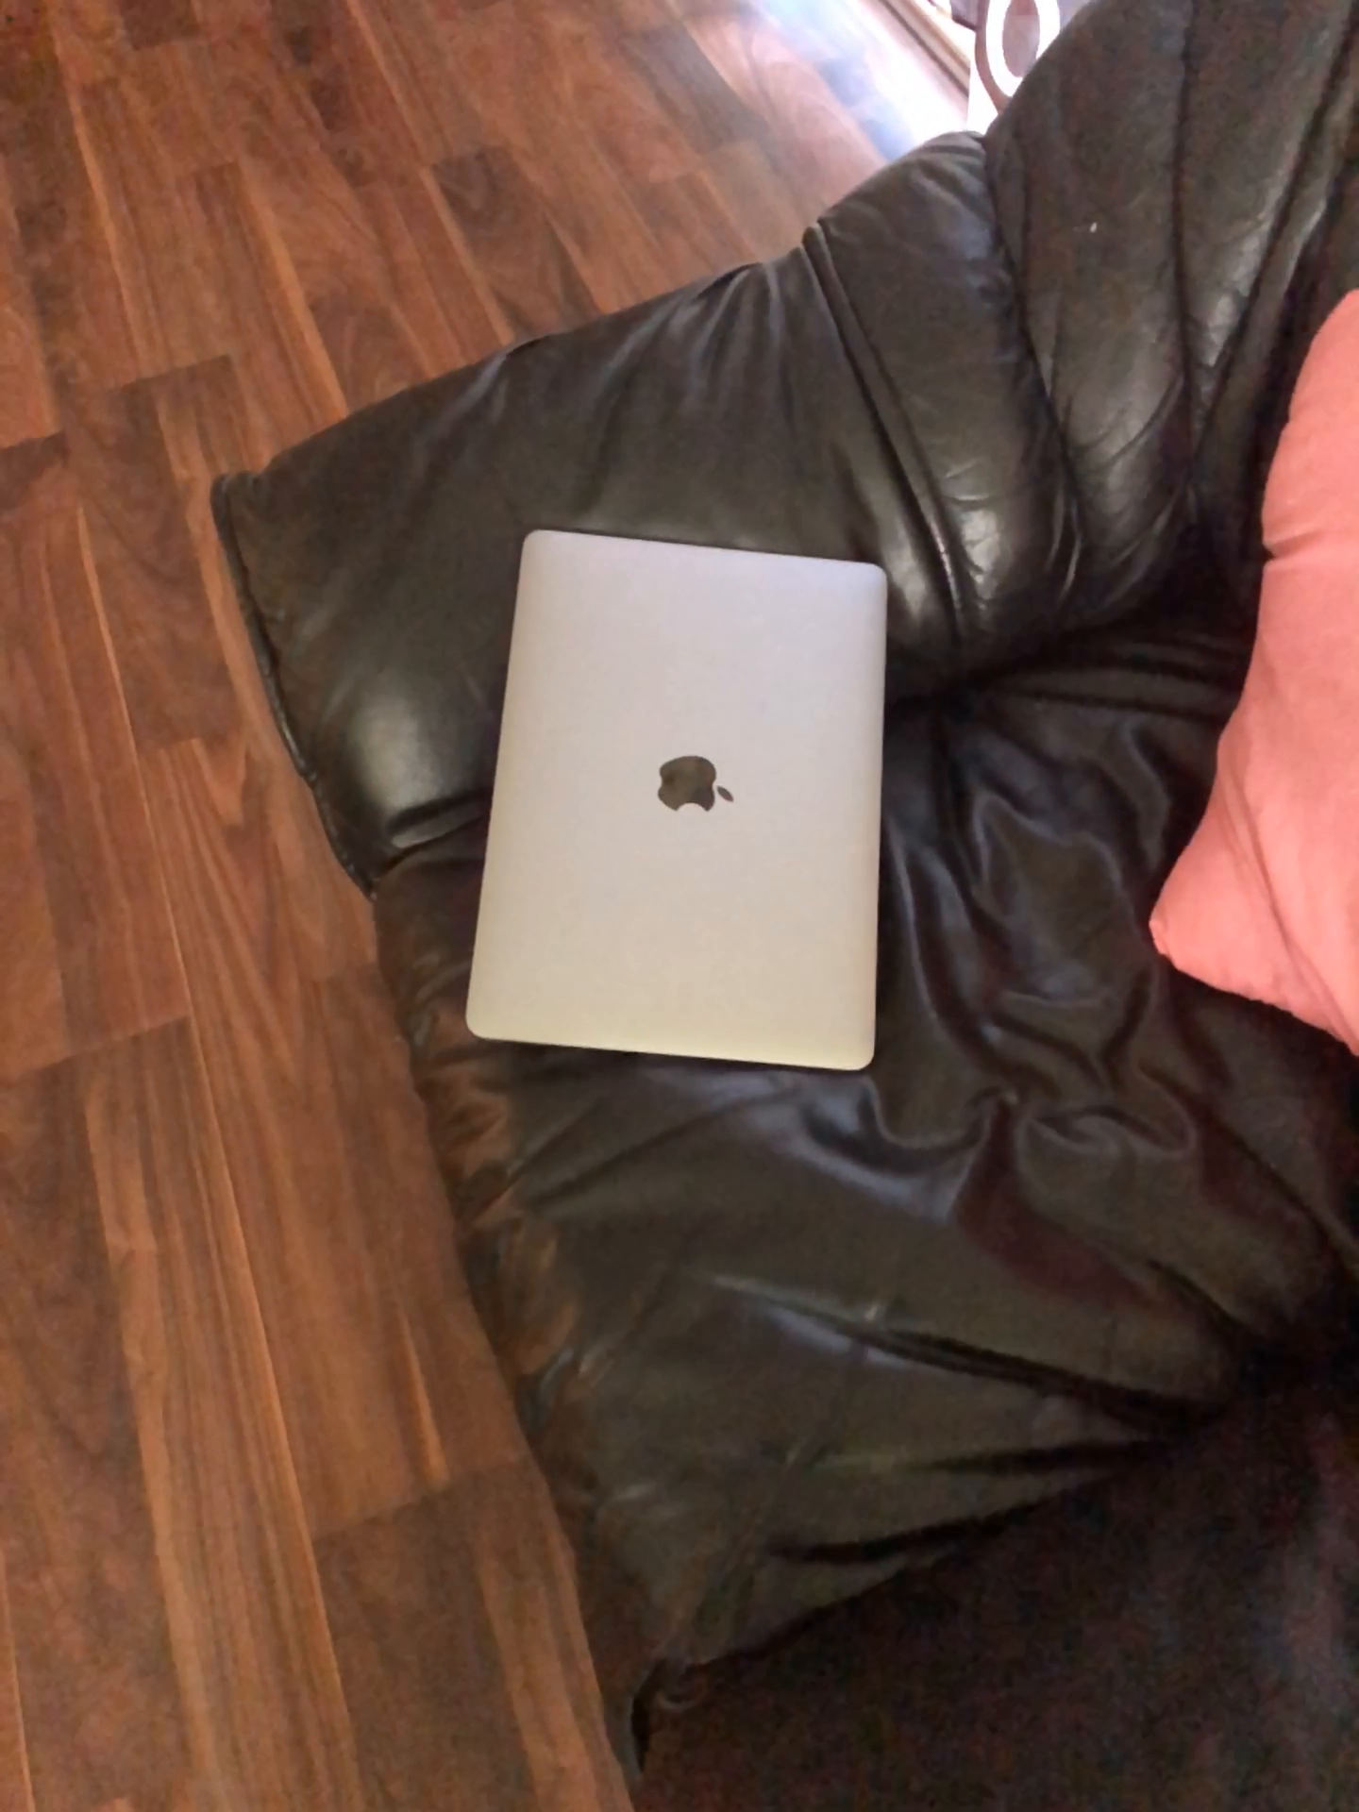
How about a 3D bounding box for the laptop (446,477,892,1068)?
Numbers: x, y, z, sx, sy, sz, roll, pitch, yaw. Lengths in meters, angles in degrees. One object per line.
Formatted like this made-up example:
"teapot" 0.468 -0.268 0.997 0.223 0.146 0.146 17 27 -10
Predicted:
"laptop" 0.005 -0.068 0.705 0.185 0.036 0.265 6 69 -4
